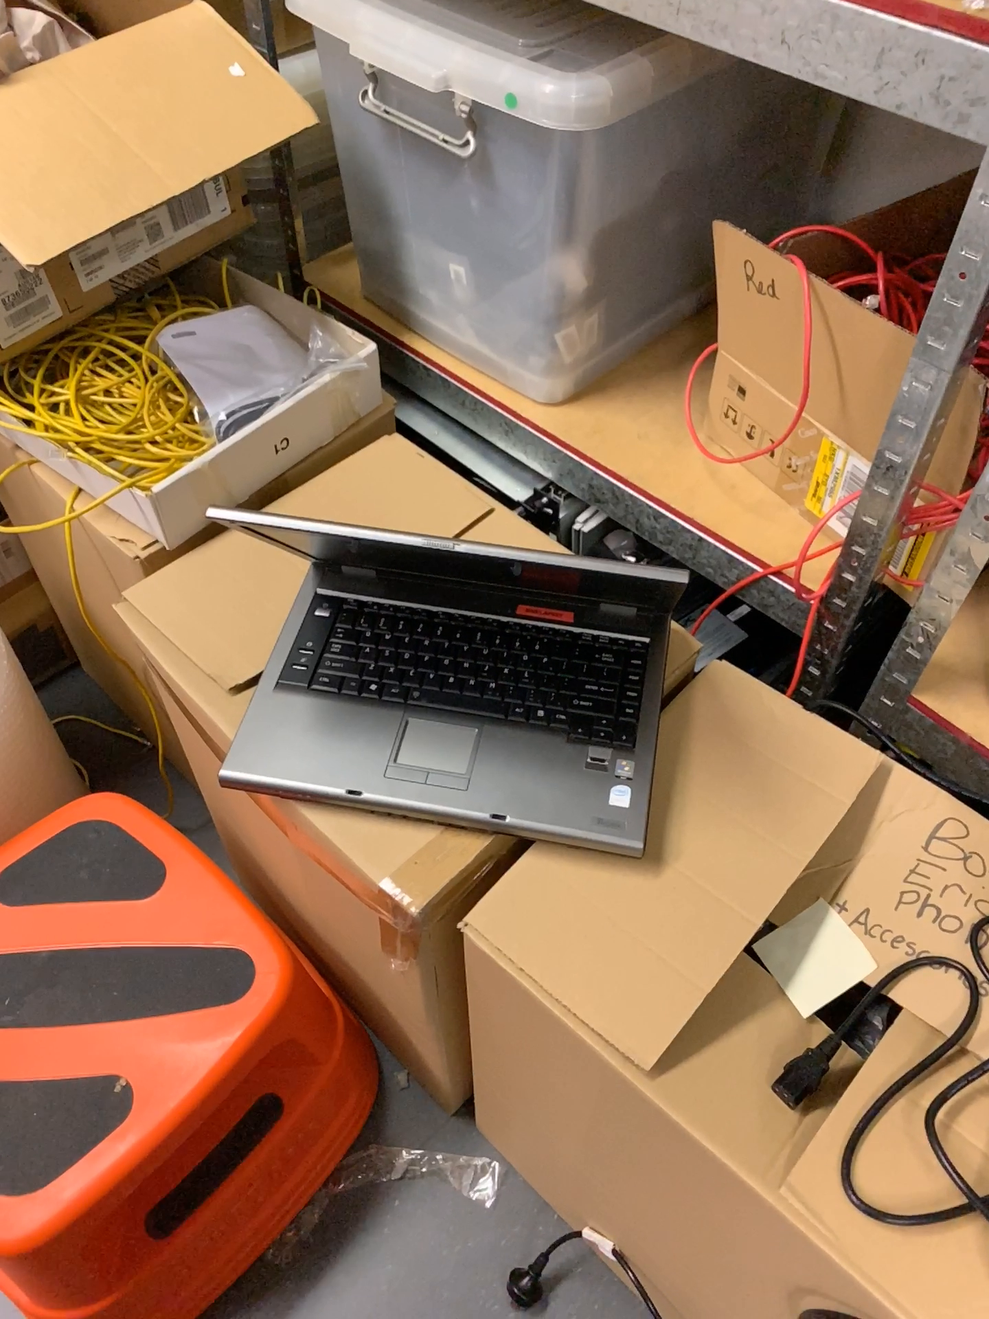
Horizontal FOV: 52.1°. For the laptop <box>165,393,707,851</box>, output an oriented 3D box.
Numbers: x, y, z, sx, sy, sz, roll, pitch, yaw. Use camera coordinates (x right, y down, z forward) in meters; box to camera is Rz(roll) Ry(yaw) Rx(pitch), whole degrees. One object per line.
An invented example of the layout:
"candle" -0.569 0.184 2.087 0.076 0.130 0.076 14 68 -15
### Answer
"laptop" -0.030 -0.036 0.820 0.352 0.203 0.254 9 51 8
